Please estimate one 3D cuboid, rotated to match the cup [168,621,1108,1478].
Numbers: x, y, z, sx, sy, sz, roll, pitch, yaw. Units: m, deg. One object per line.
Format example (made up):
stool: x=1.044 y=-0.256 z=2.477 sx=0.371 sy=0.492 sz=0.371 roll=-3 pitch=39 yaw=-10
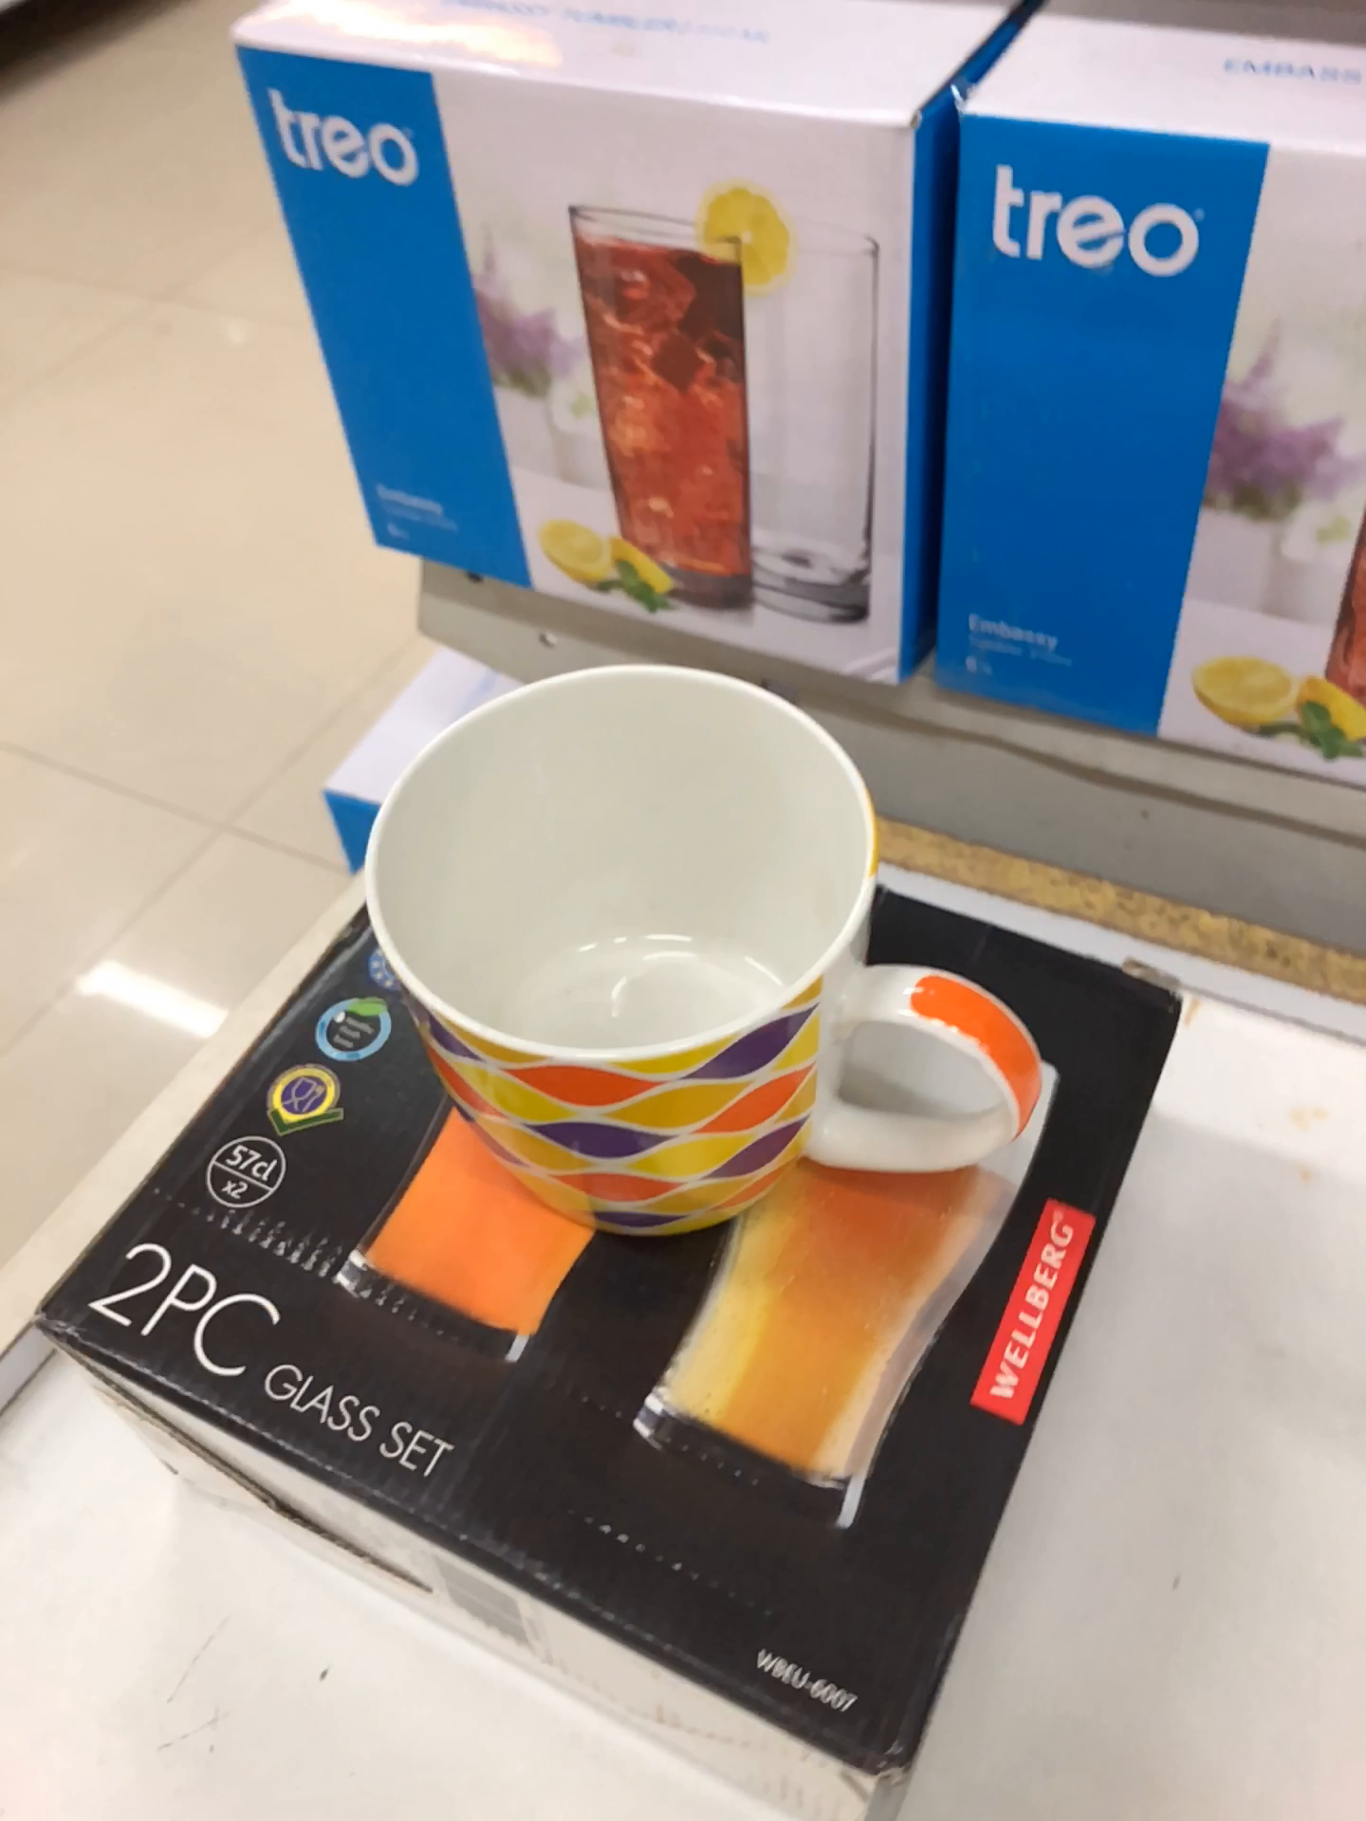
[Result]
cup: x=-0.002 y=0.021 z=0.286 sx=0.130 sy=0.090 sz=0.091 roll=16 pitch=52 yaw=21
